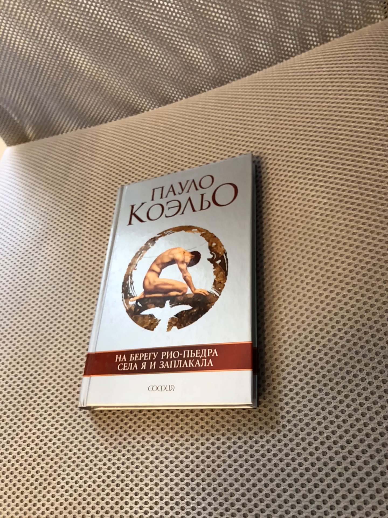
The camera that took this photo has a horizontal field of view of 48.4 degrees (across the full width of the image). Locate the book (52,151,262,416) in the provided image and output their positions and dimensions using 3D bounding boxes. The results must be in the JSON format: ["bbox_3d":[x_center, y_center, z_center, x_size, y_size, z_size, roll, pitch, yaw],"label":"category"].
[{"bbox_3d":[-0.021,0.014,0.296,0.131,0.020,0.174,-9,60,23],"label":"book"}]
